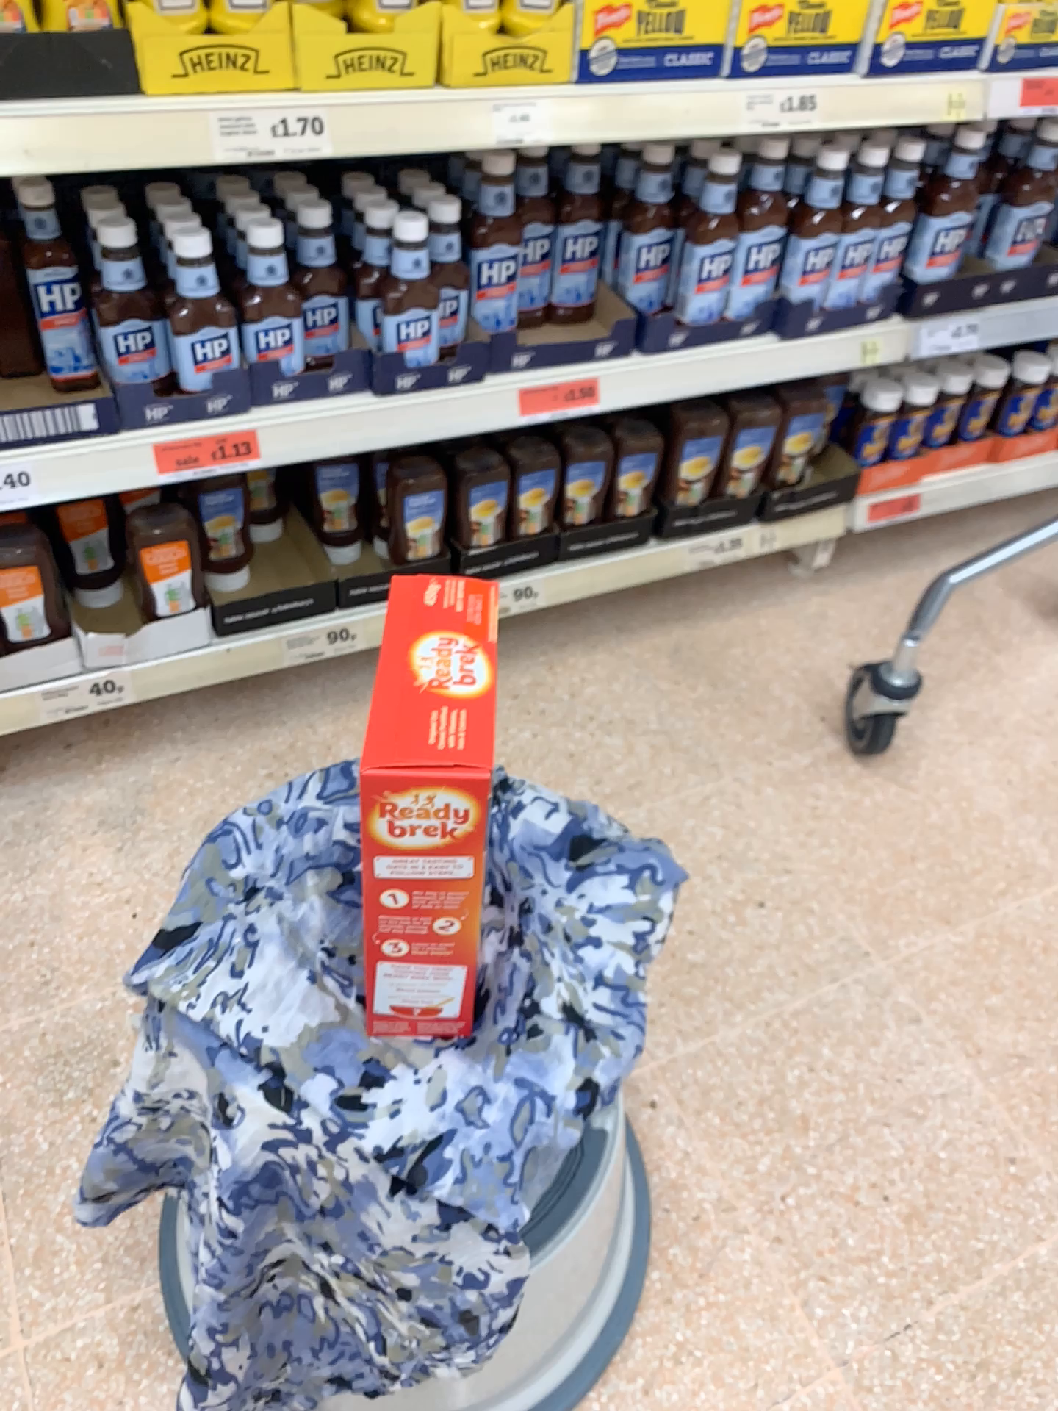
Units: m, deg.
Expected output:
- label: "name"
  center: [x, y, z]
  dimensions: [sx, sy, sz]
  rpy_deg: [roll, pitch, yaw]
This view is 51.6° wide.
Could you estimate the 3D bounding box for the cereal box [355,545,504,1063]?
- label: "cereal box"
  center: [-0.053, 0.060, 0.615]
  dimensions: [0.060, 0.238, 0.172]
  rpy_deg: [3, 42, -2]
